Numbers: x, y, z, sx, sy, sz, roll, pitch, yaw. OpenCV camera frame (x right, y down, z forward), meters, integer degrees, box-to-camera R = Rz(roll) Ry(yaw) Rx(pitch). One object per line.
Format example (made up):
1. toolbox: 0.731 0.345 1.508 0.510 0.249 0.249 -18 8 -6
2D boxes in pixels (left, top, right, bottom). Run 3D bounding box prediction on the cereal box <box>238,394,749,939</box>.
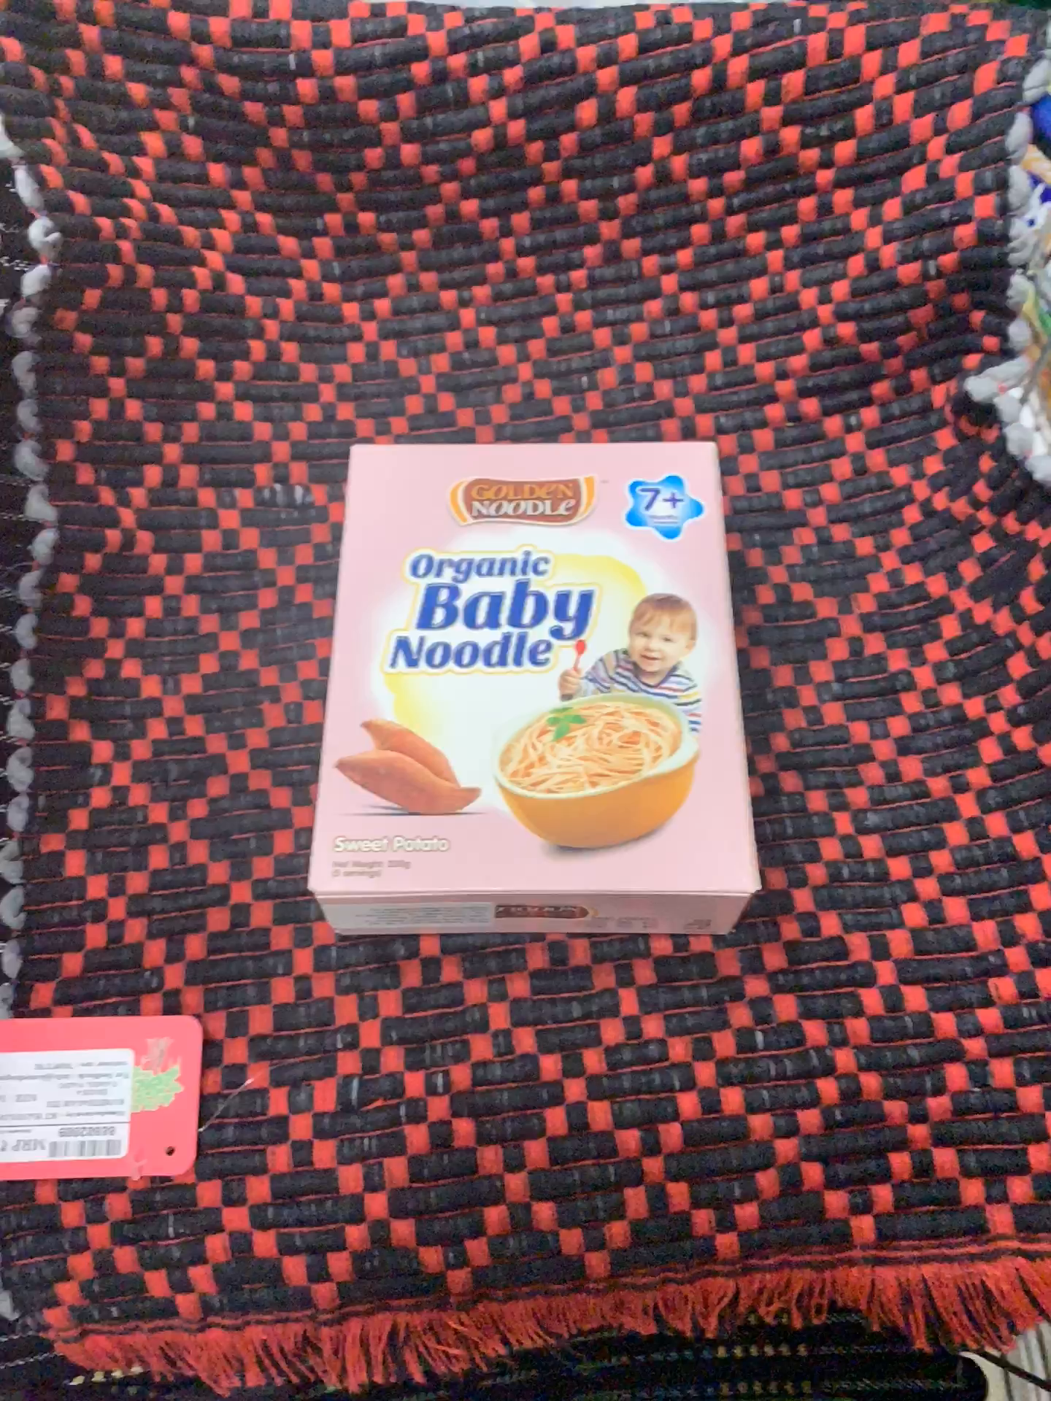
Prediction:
1. cereal box: -0.008 -0.013 0.333 0.130 0.050 0.160 -1 65 1
